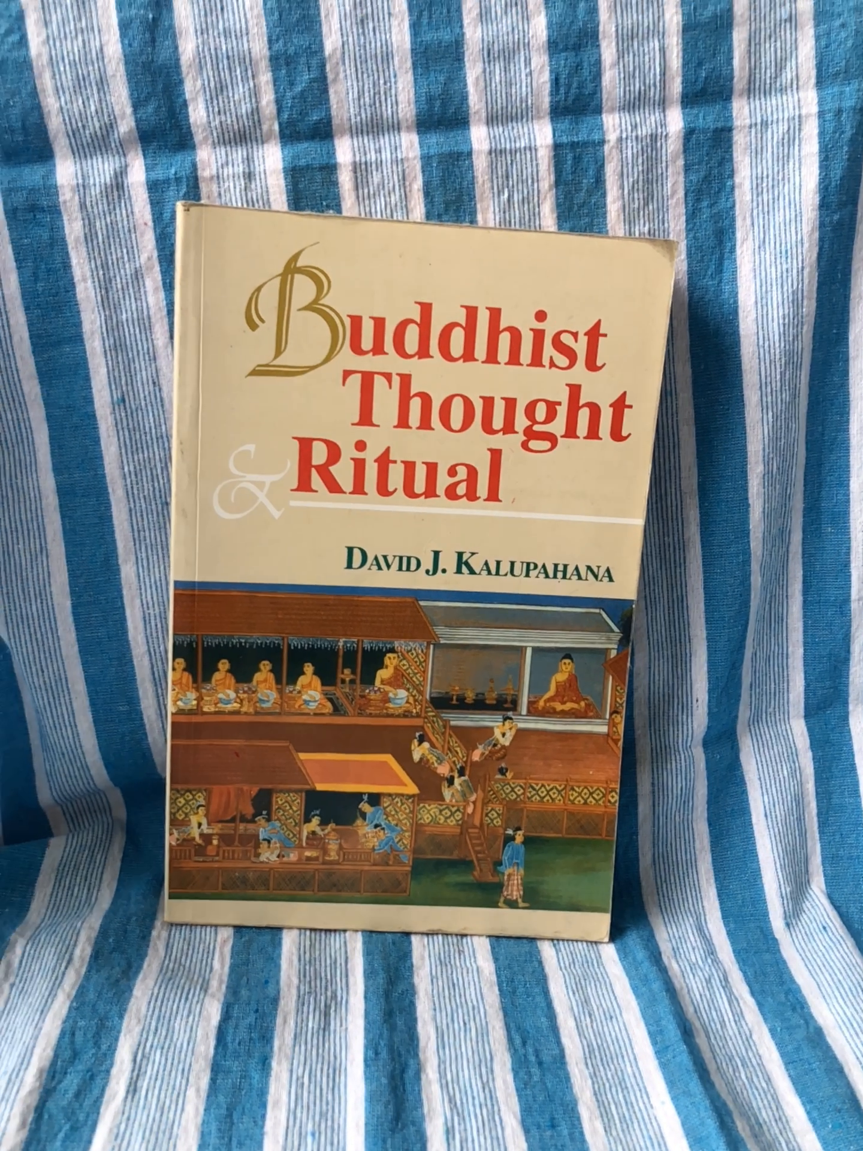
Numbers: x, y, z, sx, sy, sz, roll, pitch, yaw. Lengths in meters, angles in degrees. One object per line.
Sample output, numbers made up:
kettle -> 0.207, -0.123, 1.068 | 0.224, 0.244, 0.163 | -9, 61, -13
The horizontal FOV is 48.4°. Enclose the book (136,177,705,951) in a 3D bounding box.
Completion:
book -> -0.009, 0.006, 0.287 | 0.150, 0.219, 0.020 | 3, 12, -4
